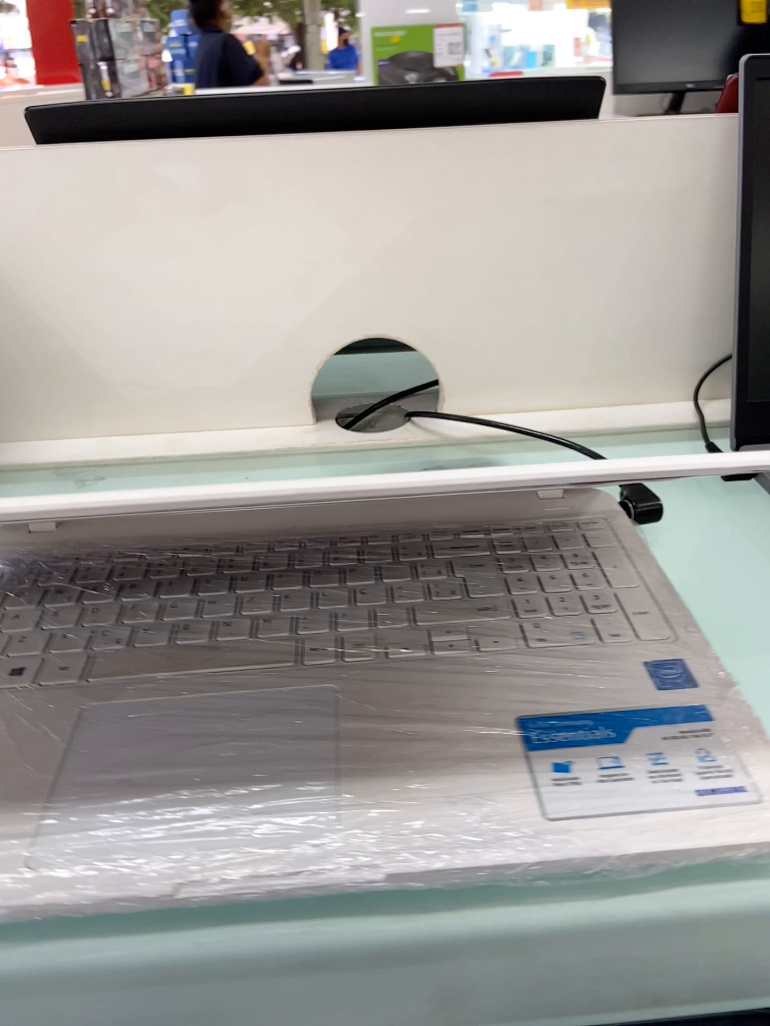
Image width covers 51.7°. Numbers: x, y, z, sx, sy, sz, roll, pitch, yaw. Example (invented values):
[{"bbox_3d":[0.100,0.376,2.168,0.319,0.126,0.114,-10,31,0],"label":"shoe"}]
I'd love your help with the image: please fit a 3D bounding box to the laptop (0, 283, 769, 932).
[{"bbox_3d":[-0.045,0.006,0.343,0.372,0.129,0.248,-4,30,-3],"label":"laptop"}]
